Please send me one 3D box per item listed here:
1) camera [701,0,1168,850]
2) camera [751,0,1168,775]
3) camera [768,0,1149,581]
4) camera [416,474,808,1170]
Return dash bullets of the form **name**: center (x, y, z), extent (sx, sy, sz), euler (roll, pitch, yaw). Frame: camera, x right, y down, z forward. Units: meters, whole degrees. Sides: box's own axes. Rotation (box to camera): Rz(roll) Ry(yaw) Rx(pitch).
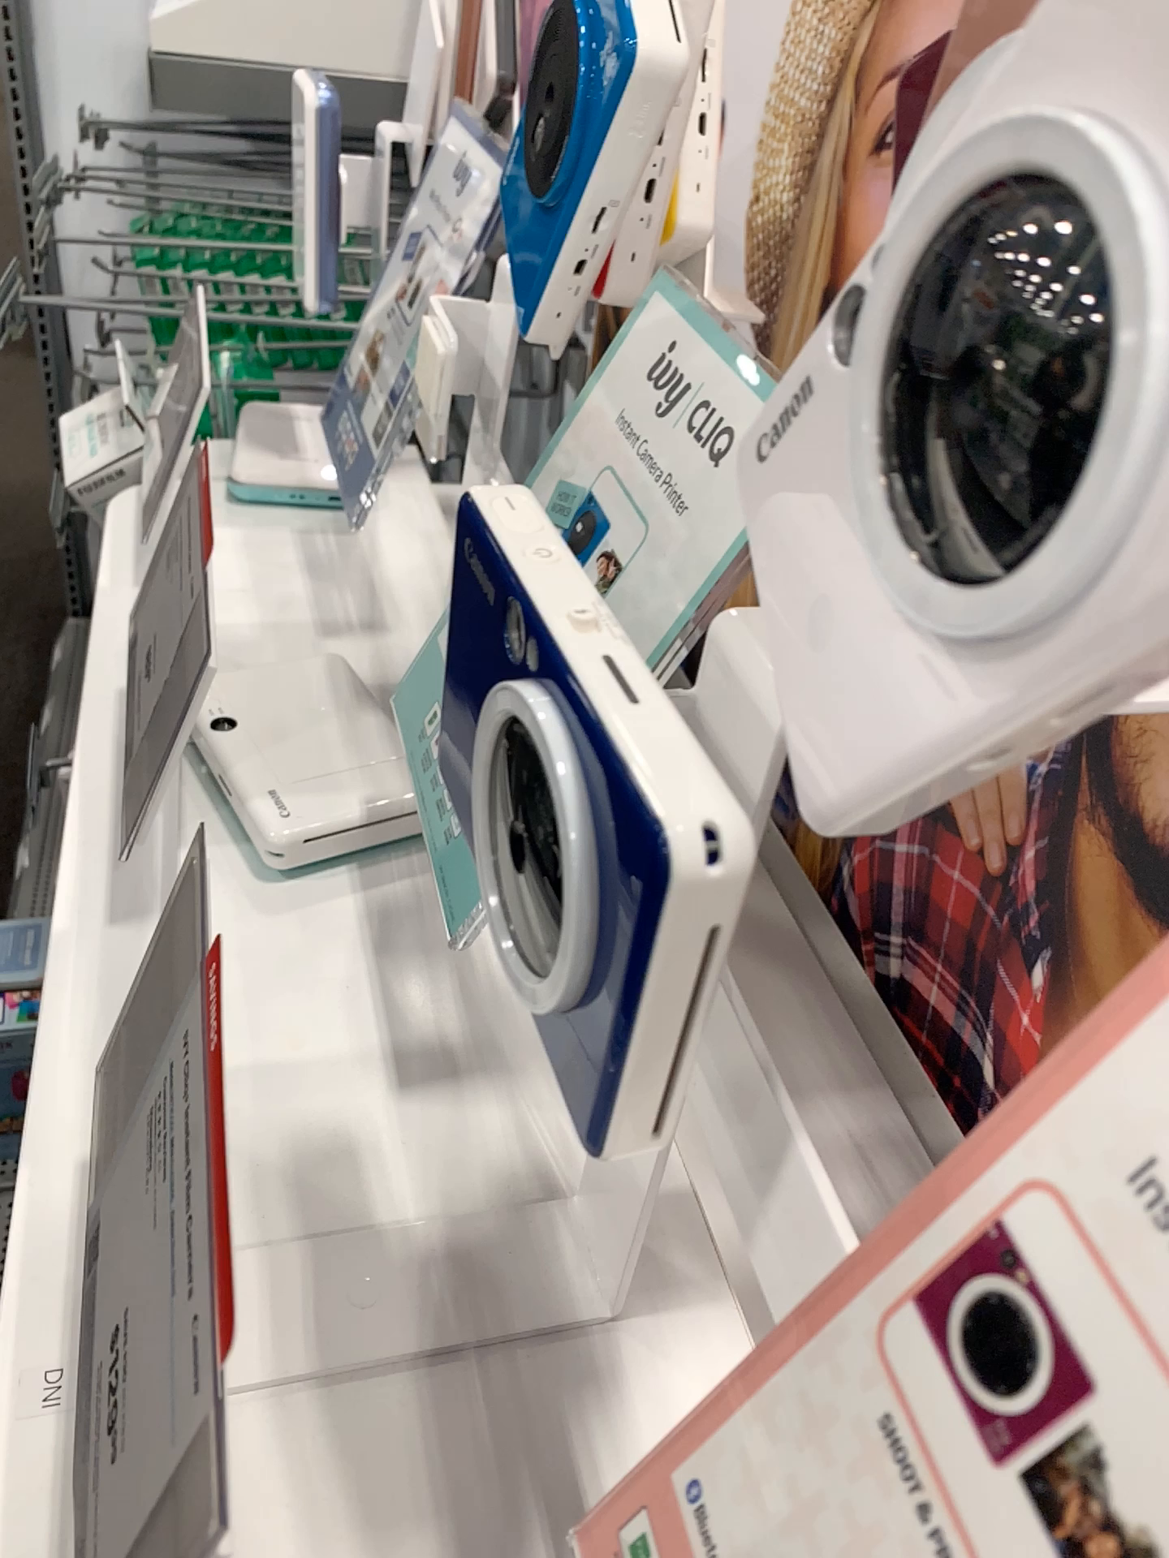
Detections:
- **camera**: center (0.056, -0.044, 0.166), extent (0.028, 0.120, 0.078), euler (-1, 72, -17)
- **camera**: center (0.069, -0.073, 0.203), extent (0.028, 0.119, 0.078), euler (-5, 39, -19)
- **camera**: center (0.069, -0.097, 0.239), extent (0.028, 0.110, 0.078), euler (-7, 12, -19)
- **camera**: center (-0.005, 0.000, 0.231), extent (0.028, 0.070, 0.121), euler (-6, 39, -19)
